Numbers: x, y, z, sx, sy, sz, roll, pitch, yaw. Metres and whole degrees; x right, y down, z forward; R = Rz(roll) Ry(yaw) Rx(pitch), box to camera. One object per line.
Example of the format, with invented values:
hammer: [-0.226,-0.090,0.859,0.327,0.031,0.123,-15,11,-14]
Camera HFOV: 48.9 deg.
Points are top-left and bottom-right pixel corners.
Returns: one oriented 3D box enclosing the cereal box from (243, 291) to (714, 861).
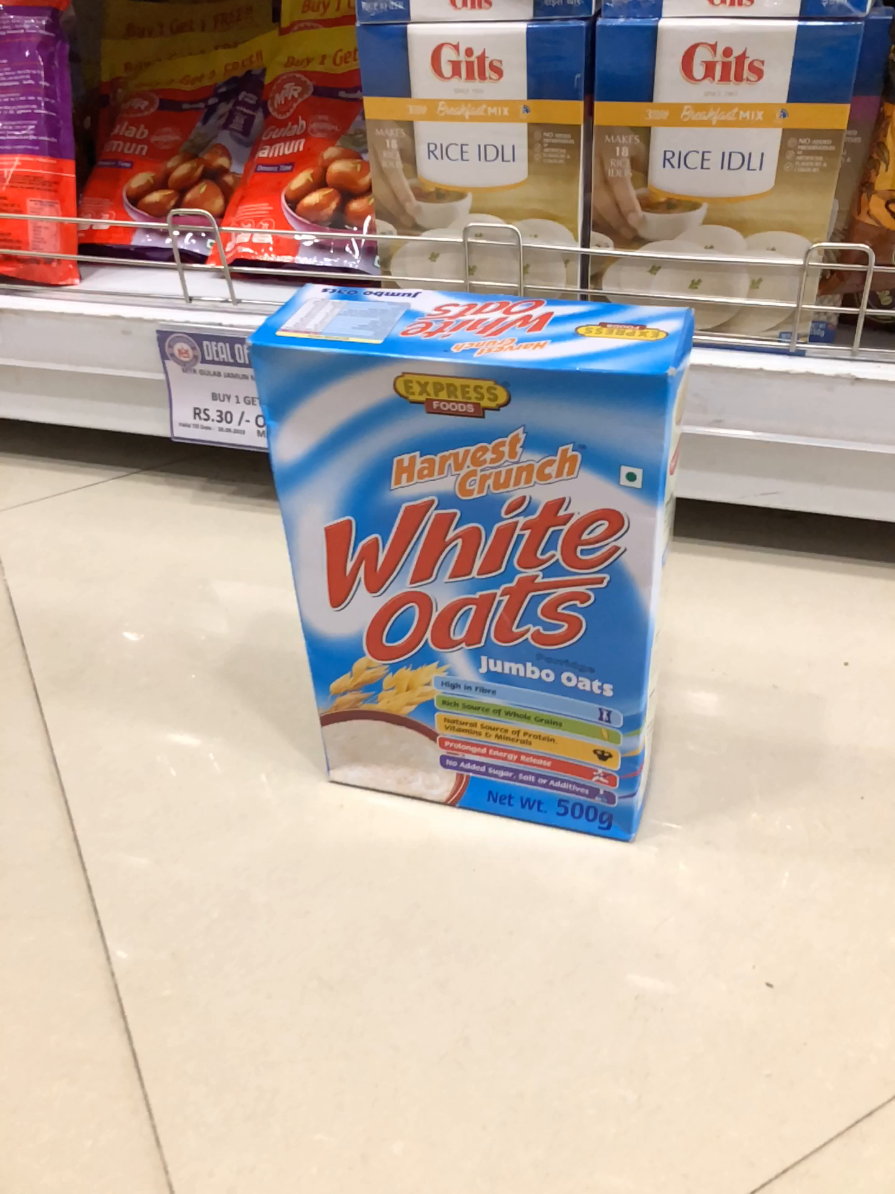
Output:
cereal box: [0.017,-0.002,0.403,0.150,0.219,0.060,9,39,16]
